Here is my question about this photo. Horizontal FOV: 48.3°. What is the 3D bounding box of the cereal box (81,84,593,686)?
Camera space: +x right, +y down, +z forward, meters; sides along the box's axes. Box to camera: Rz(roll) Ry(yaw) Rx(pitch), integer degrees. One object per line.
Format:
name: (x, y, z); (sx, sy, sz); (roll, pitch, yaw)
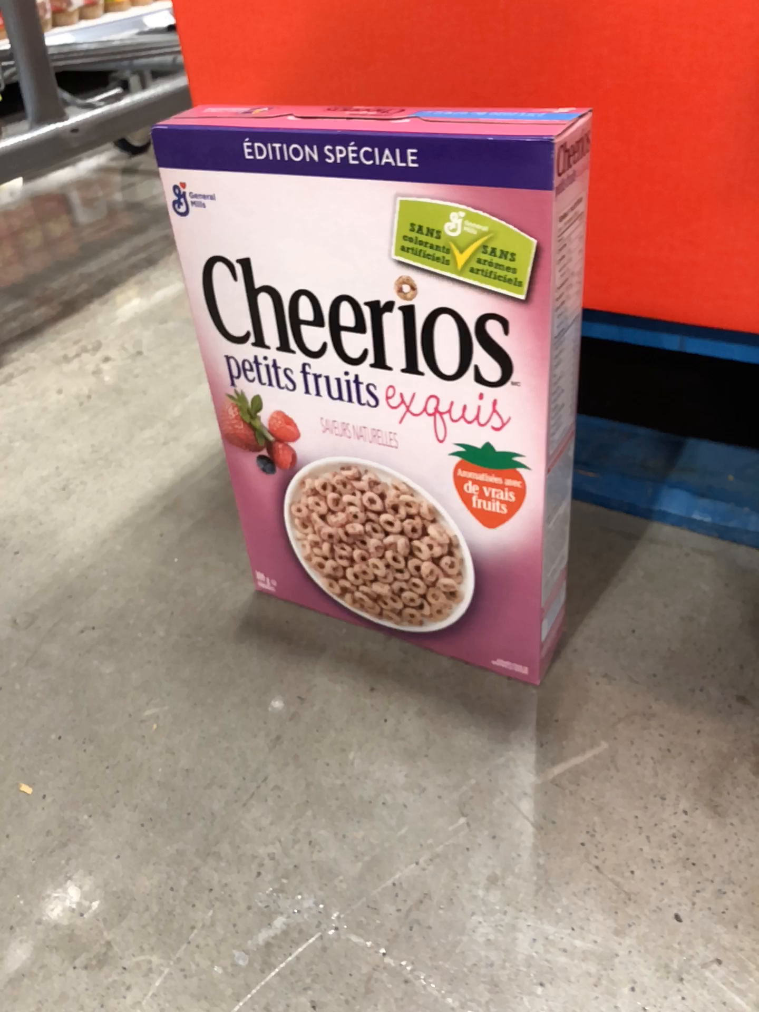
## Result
cereal box: (-0.014, -0.059, 0.439); (0.220, 0.279, 0.060); (15, 41, 27)
